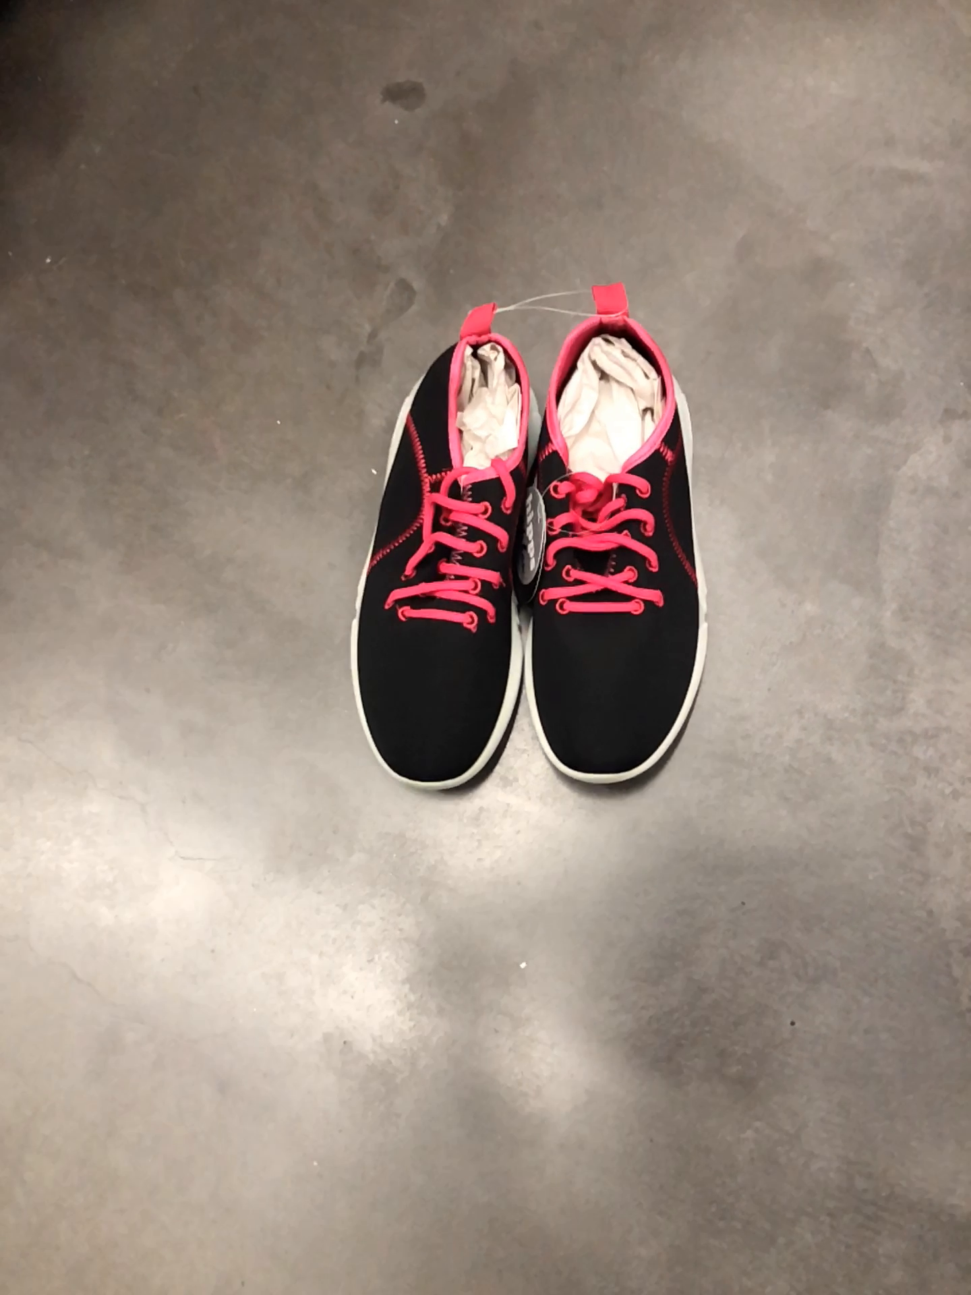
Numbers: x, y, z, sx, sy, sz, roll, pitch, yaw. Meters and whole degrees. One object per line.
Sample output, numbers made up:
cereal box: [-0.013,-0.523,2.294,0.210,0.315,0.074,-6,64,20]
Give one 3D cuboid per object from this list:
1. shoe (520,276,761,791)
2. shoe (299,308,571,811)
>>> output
shoe: [0.069,-0.051,0.519,0.100,0.090,0.230,-1,75,5]
shoe: [-0.017,-0.042,0.540,0.100,0.090,0.230,5,76,6]
